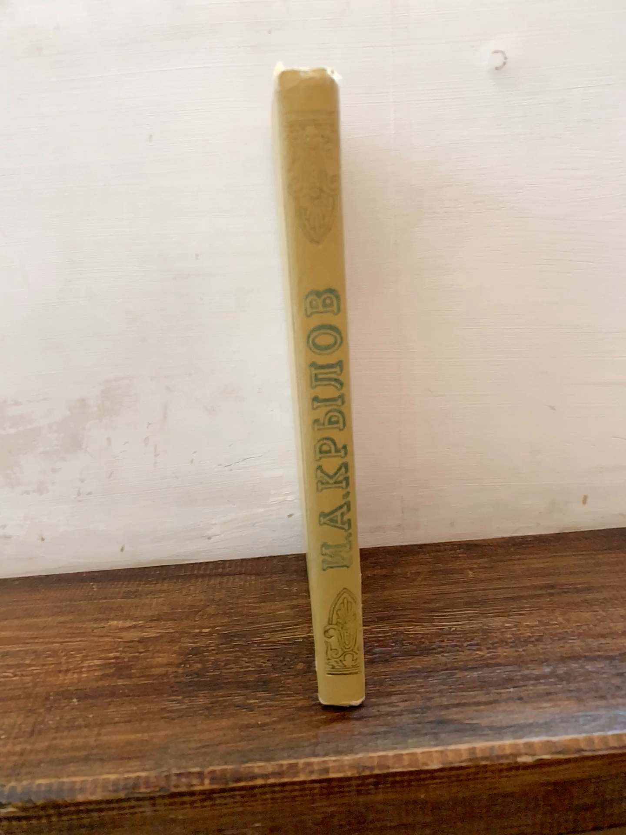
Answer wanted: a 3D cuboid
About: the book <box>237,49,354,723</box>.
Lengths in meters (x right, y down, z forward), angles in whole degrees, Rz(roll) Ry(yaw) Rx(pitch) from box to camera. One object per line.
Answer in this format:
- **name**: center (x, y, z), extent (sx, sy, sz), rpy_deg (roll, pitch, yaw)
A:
- **book**: center (-0.006, -0.014, 0.255), extent (0.020, 0.205, 0.132), rpy_deg (-4, 18, -2)
